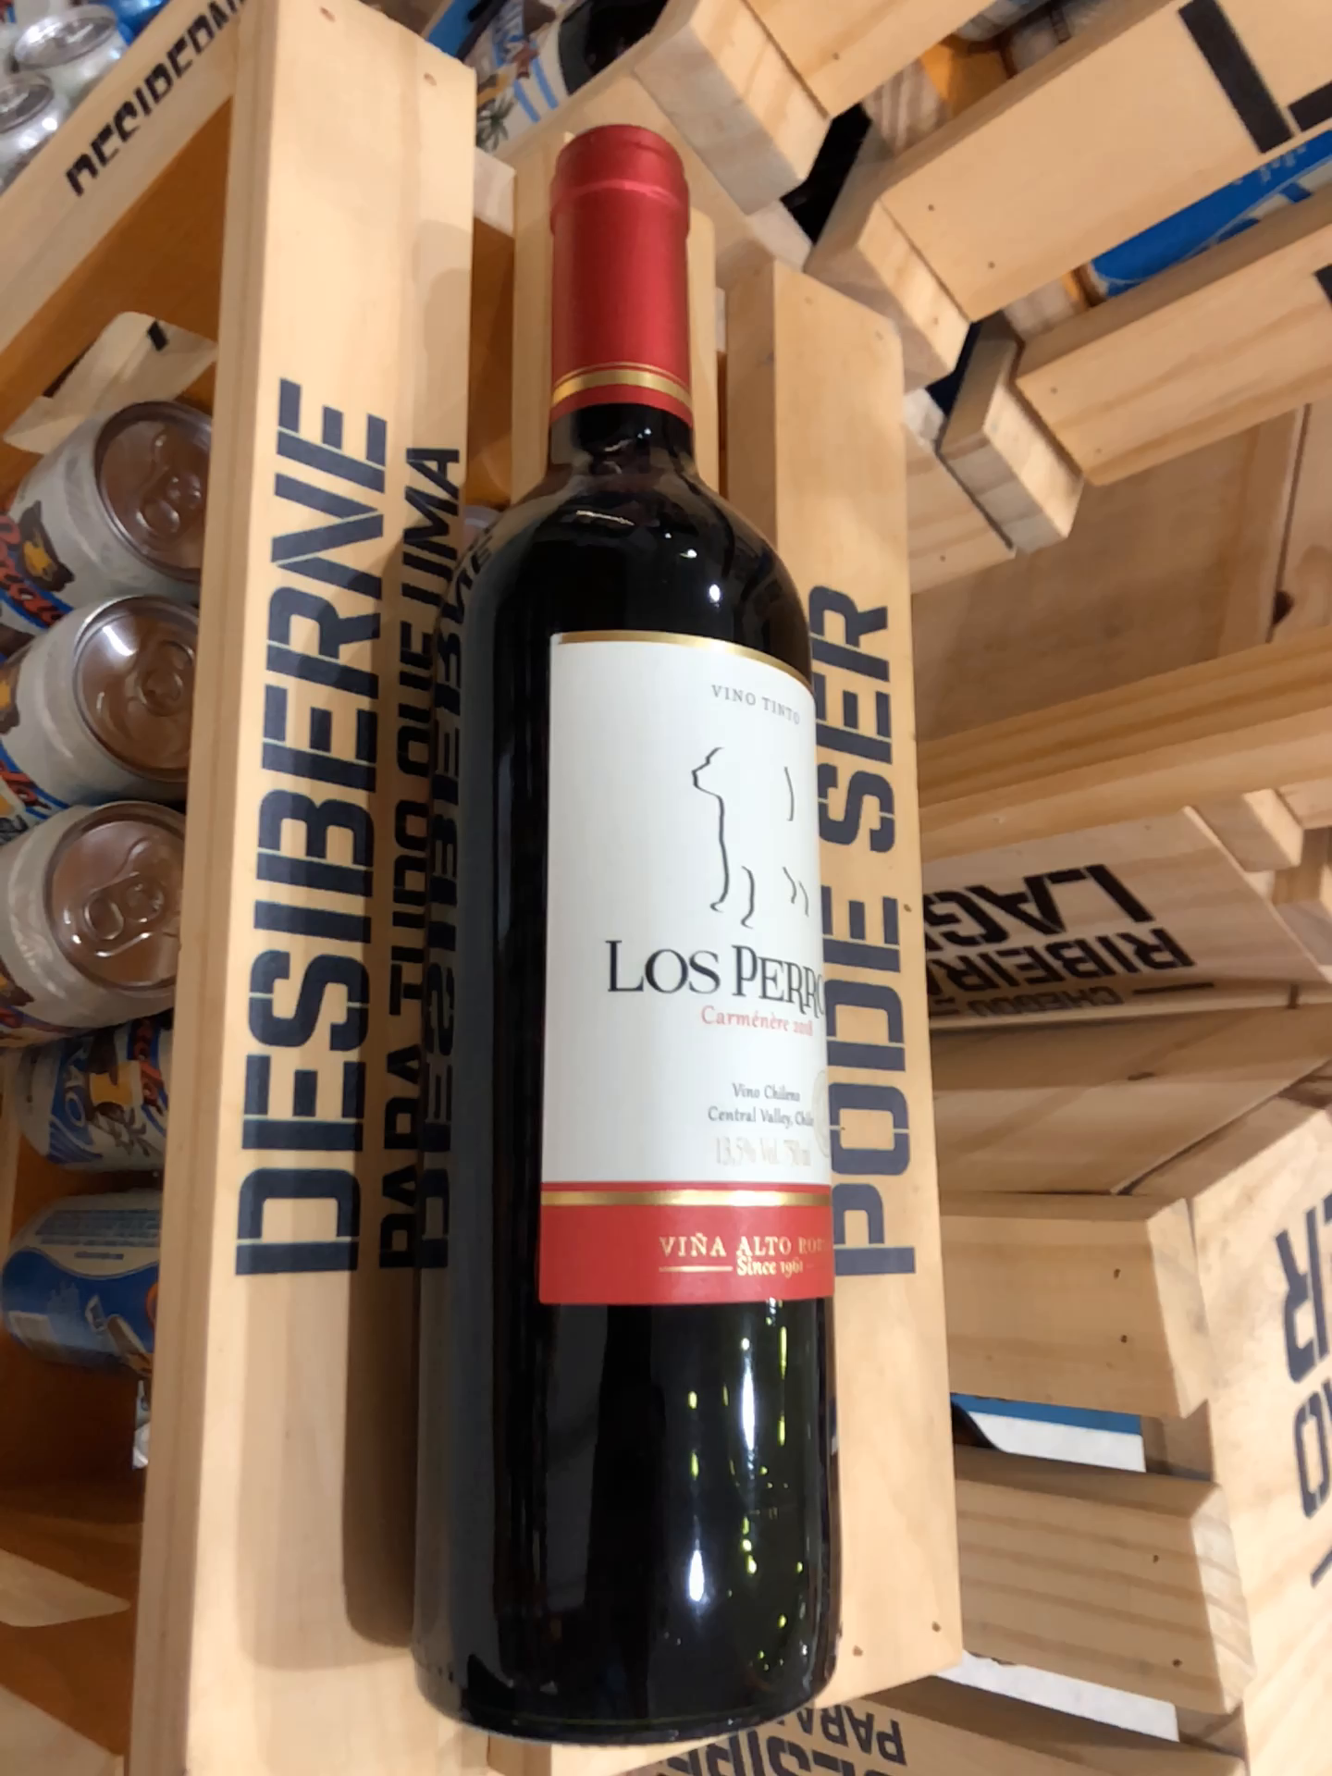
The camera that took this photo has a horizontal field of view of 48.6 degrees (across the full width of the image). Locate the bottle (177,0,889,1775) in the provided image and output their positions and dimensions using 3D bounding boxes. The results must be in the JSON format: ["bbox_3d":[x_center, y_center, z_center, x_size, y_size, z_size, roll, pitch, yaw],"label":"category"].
[{"bbox_3d":[-0.017,-0.017,0.255,0.091,0.060,0.310,11,75,-43],"label":"bottle"}]
